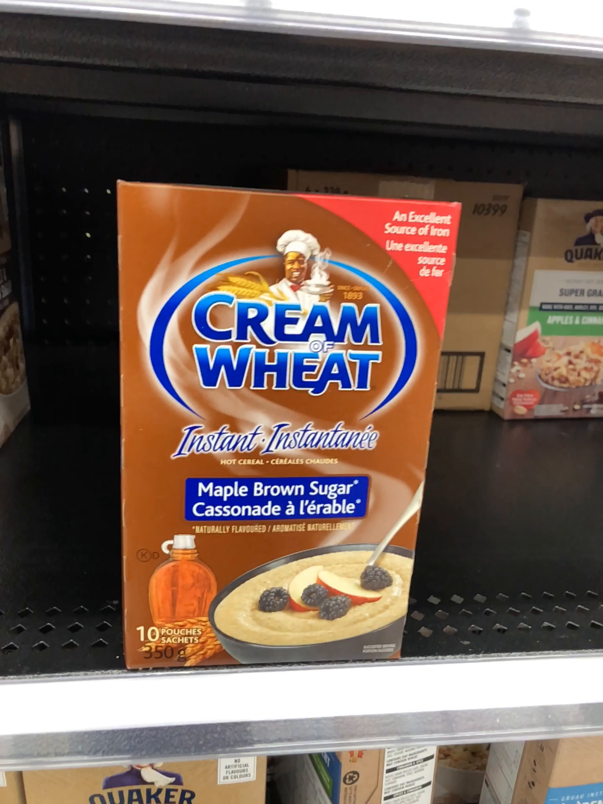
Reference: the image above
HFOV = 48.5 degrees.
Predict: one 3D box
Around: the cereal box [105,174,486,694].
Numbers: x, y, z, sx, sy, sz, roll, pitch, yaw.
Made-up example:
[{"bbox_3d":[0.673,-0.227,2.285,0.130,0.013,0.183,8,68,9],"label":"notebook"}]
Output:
[{"bbox_3d":[-0.009,0.016,0.289,0.130,0.209,0.060,1,19,-8],"label":"cereal box"}]
